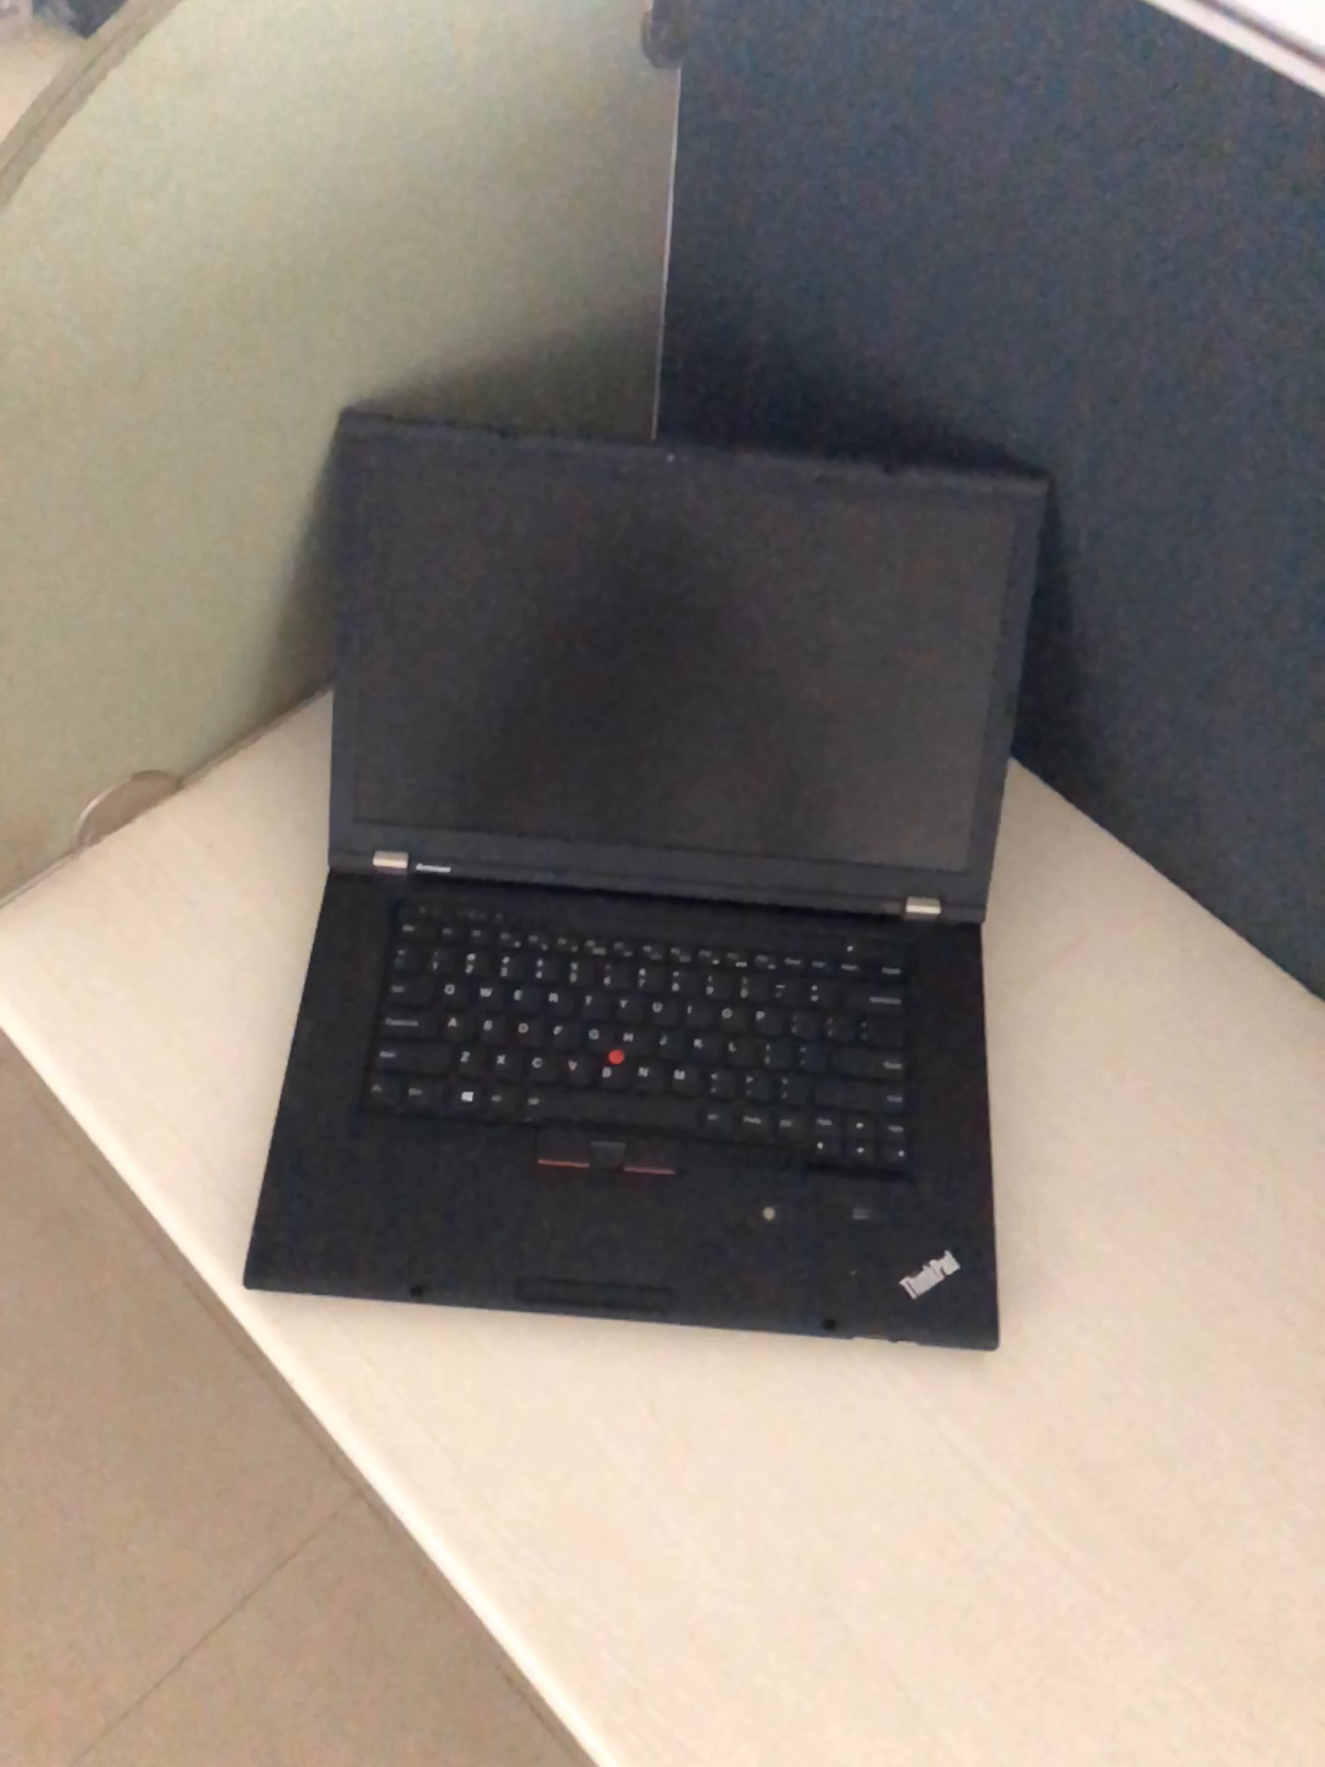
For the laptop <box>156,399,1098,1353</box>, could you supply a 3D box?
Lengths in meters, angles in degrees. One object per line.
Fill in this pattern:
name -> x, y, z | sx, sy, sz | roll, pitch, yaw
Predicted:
laptop -> -0.001, -0.012, 0.716 | 0.355, 0.168, 0.405 | 5, 61, 0
